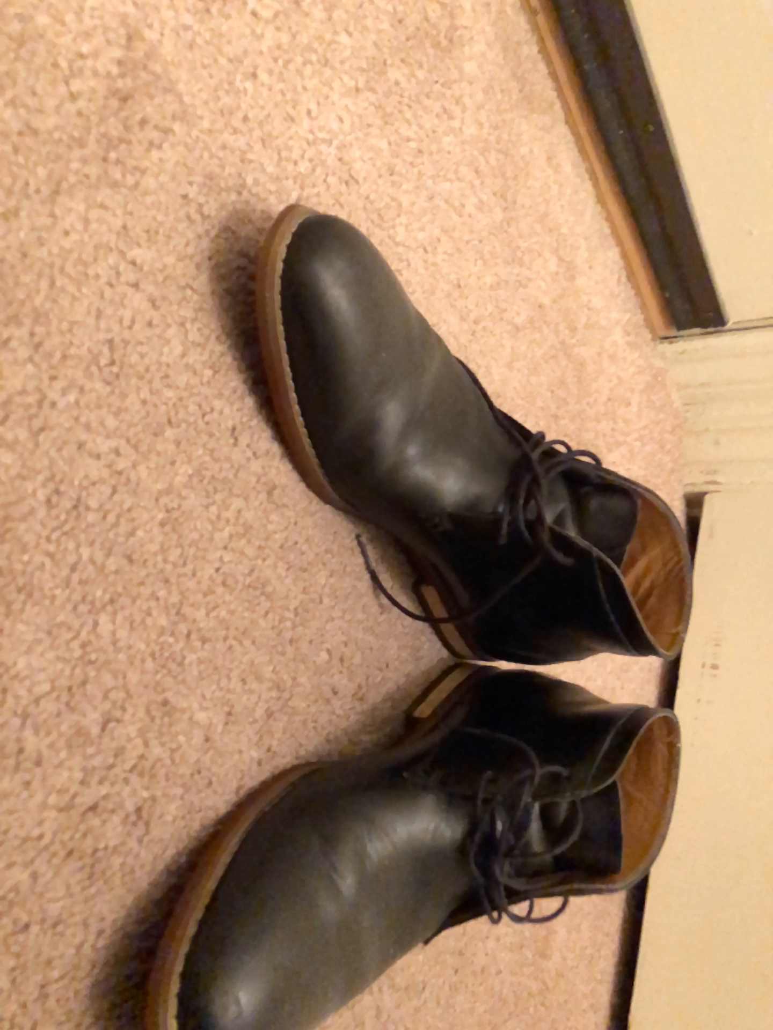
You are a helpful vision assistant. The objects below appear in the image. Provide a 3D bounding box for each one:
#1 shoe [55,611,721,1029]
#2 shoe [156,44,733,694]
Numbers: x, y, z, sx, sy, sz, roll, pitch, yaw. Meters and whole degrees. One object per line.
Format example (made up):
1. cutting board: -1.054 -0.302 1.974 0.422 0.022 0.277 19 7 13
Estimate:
1. shoe: 0.039 0.156 0.374 0.304 0.135 0.116 -27 112 -53
2. shoe: 0.060 -0.033 0.410 0.303 0.135 0.116 48 52 -45
